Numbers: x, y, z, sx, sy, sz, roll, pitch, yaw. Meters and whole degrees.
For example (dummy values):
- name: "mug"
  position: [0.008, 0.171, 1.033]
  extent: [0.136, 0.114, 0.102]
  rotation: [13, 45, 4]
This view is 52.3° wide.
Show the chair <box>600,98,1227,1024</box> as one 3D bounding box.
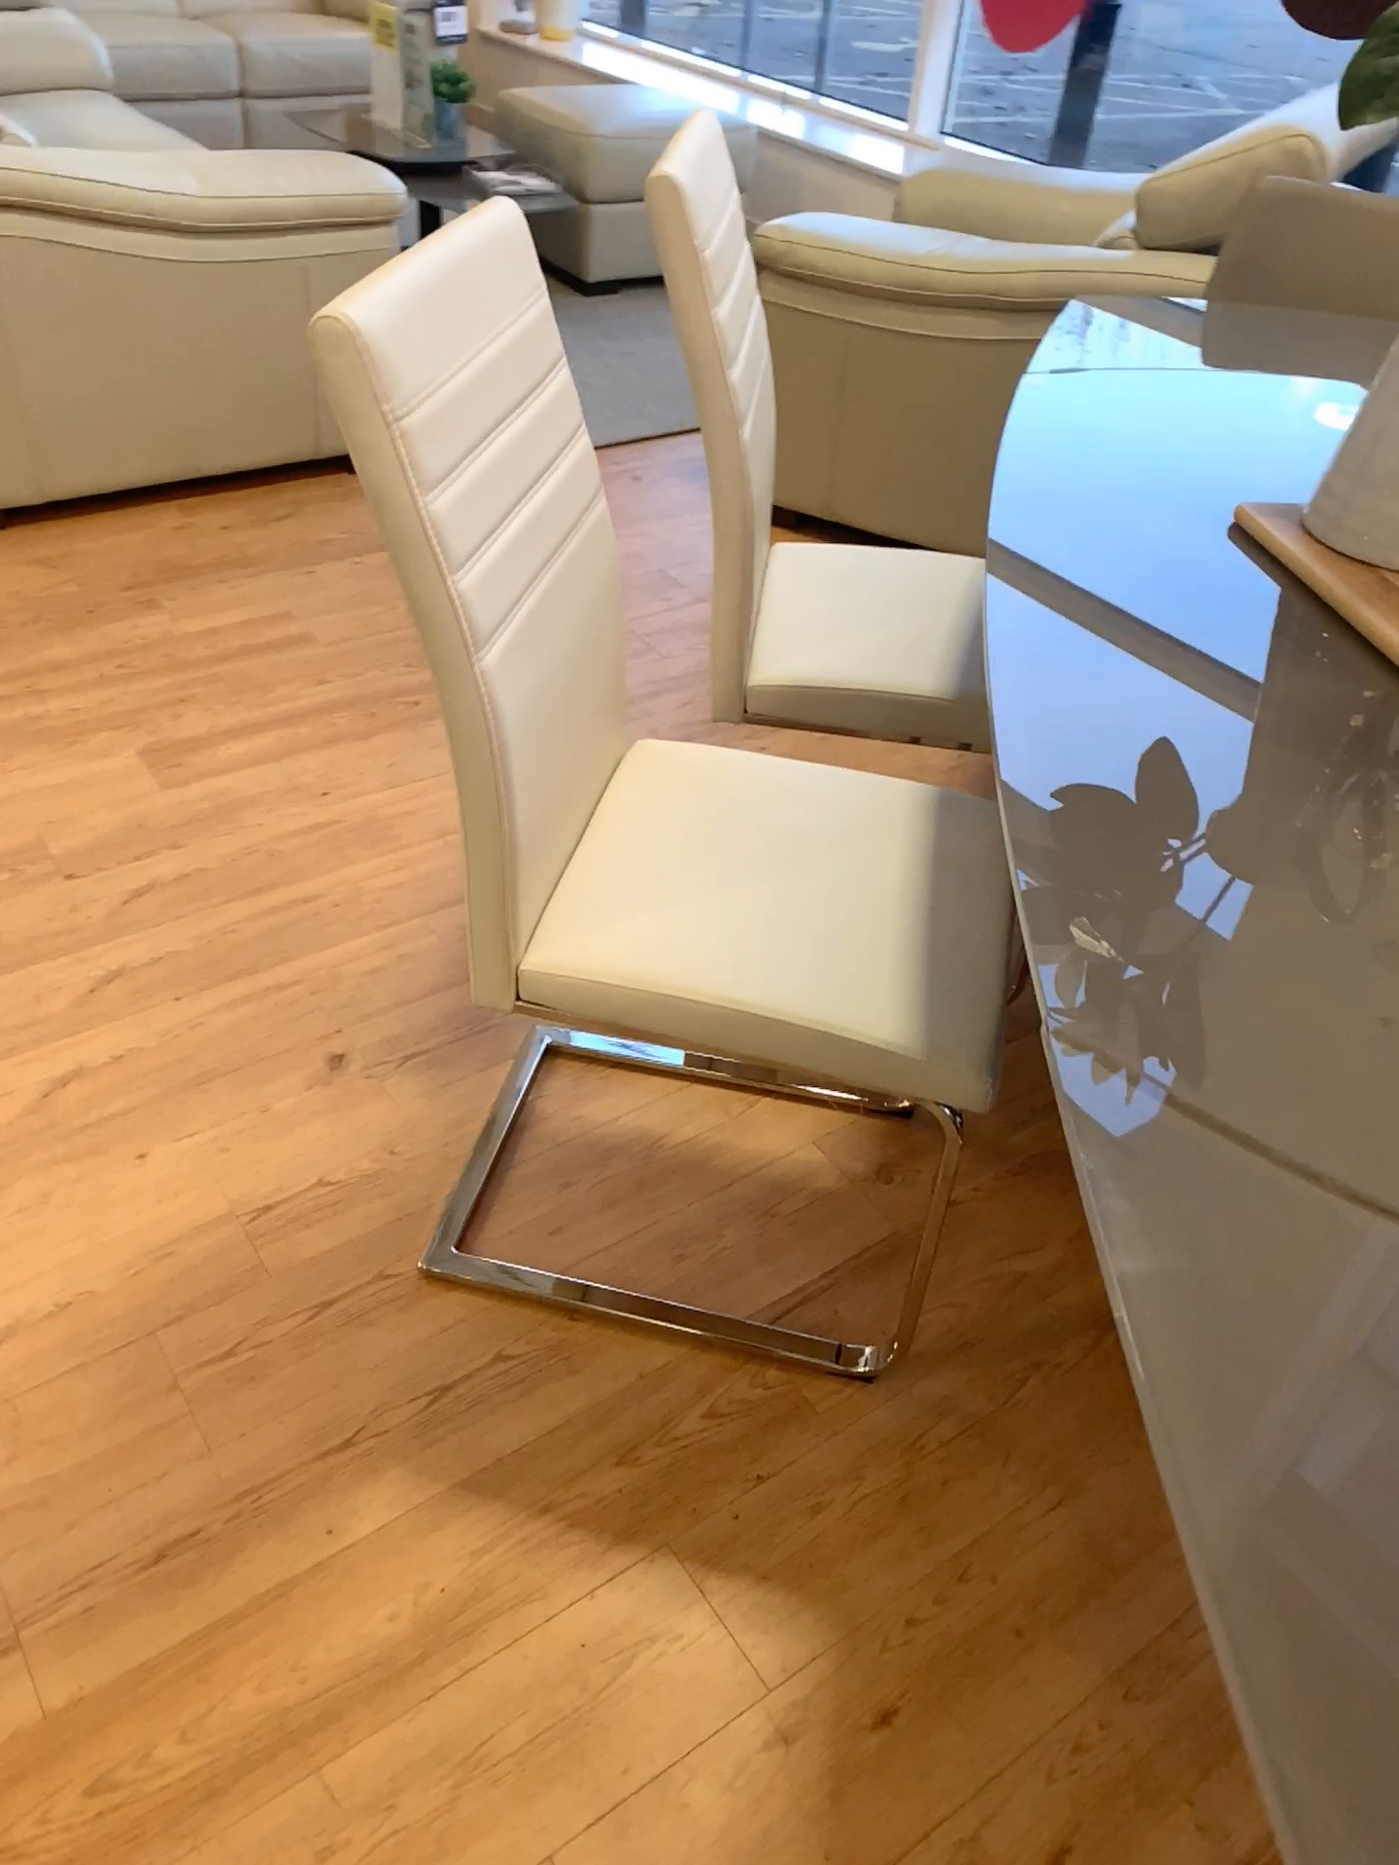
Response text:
- name: "chair"
  position: [0.190, -0.413, 1.723]
  extent: [0.525, 0.933, 0.436]
  rotation: [7, 38, 2]

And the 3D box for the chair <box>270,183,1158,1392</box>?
- name: "chair"
  position: [0.005, -0.092, 1.289]
  extent: [0.535, 0.923, 0.425]
  rotation: [11, 39, 6]
